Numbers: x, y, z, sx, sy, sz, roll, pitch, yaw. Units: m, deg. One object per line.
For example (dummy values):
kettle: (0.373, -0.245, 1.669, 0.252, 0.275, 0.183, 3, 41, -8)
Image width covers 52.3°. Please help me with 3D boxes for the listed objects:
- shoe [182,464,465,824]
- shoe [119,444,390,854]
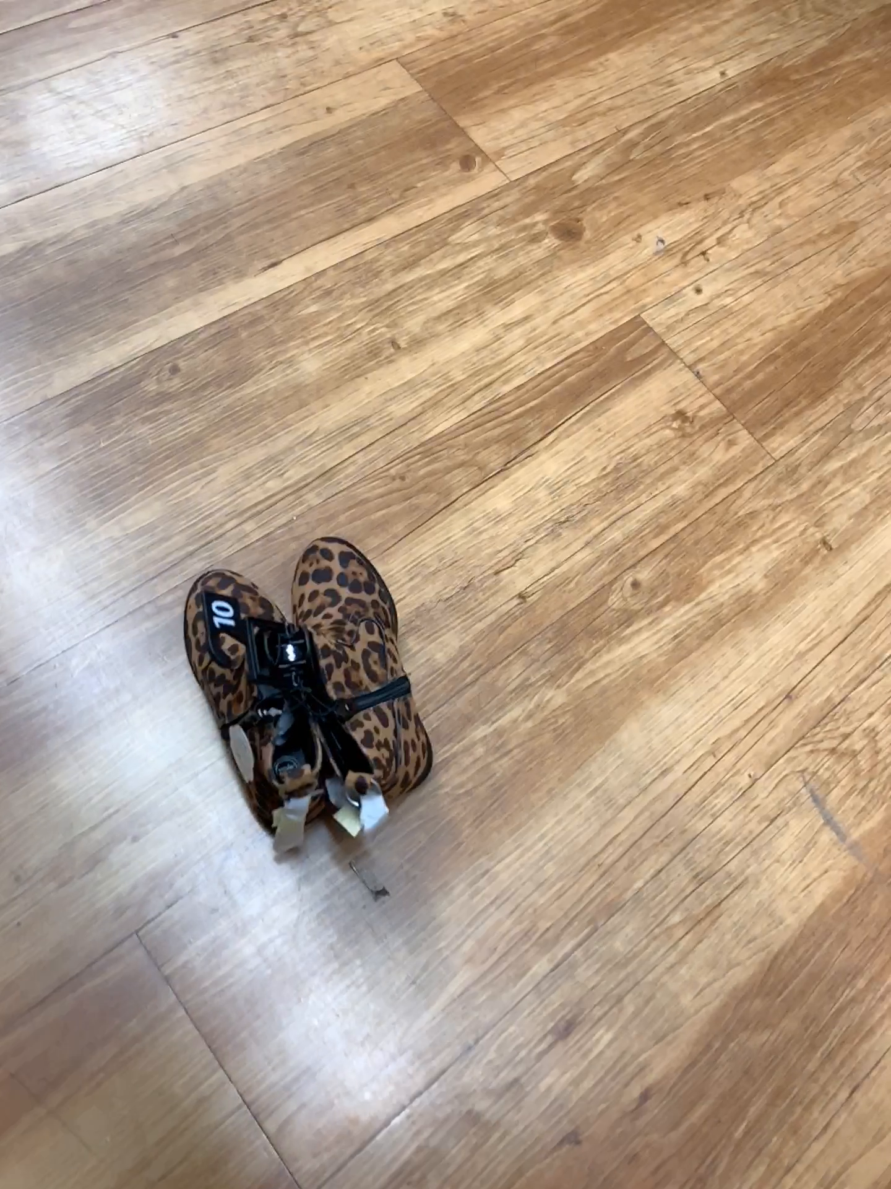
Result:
shoe: (-0.069, 0.034, 0.537, 0.070, 0.120, 0.180, -26, 71, 11)
shoe: (-0.109, 0.034, 0.512, 0.070, 0.120, 0.190, -21, 72, -19)
